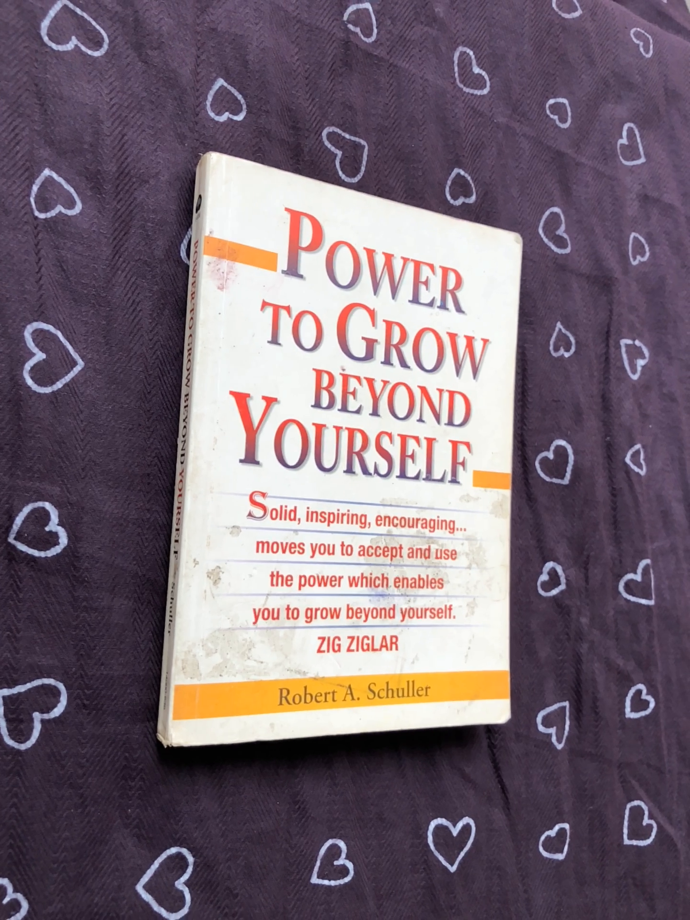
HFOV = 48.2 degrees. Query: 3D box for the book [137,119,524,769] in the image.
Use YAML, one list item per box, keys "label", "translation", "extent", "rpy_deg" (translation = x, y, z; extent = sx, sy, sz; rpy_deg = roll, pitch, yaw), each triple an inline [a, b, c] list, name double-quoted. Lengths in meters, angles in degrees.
- label: "book"
  translation: [0.002, -0.001, 0.255]
  extent: [0.120, 0.030, 0.180]
  rpy_deg: [7, 82, -31]
